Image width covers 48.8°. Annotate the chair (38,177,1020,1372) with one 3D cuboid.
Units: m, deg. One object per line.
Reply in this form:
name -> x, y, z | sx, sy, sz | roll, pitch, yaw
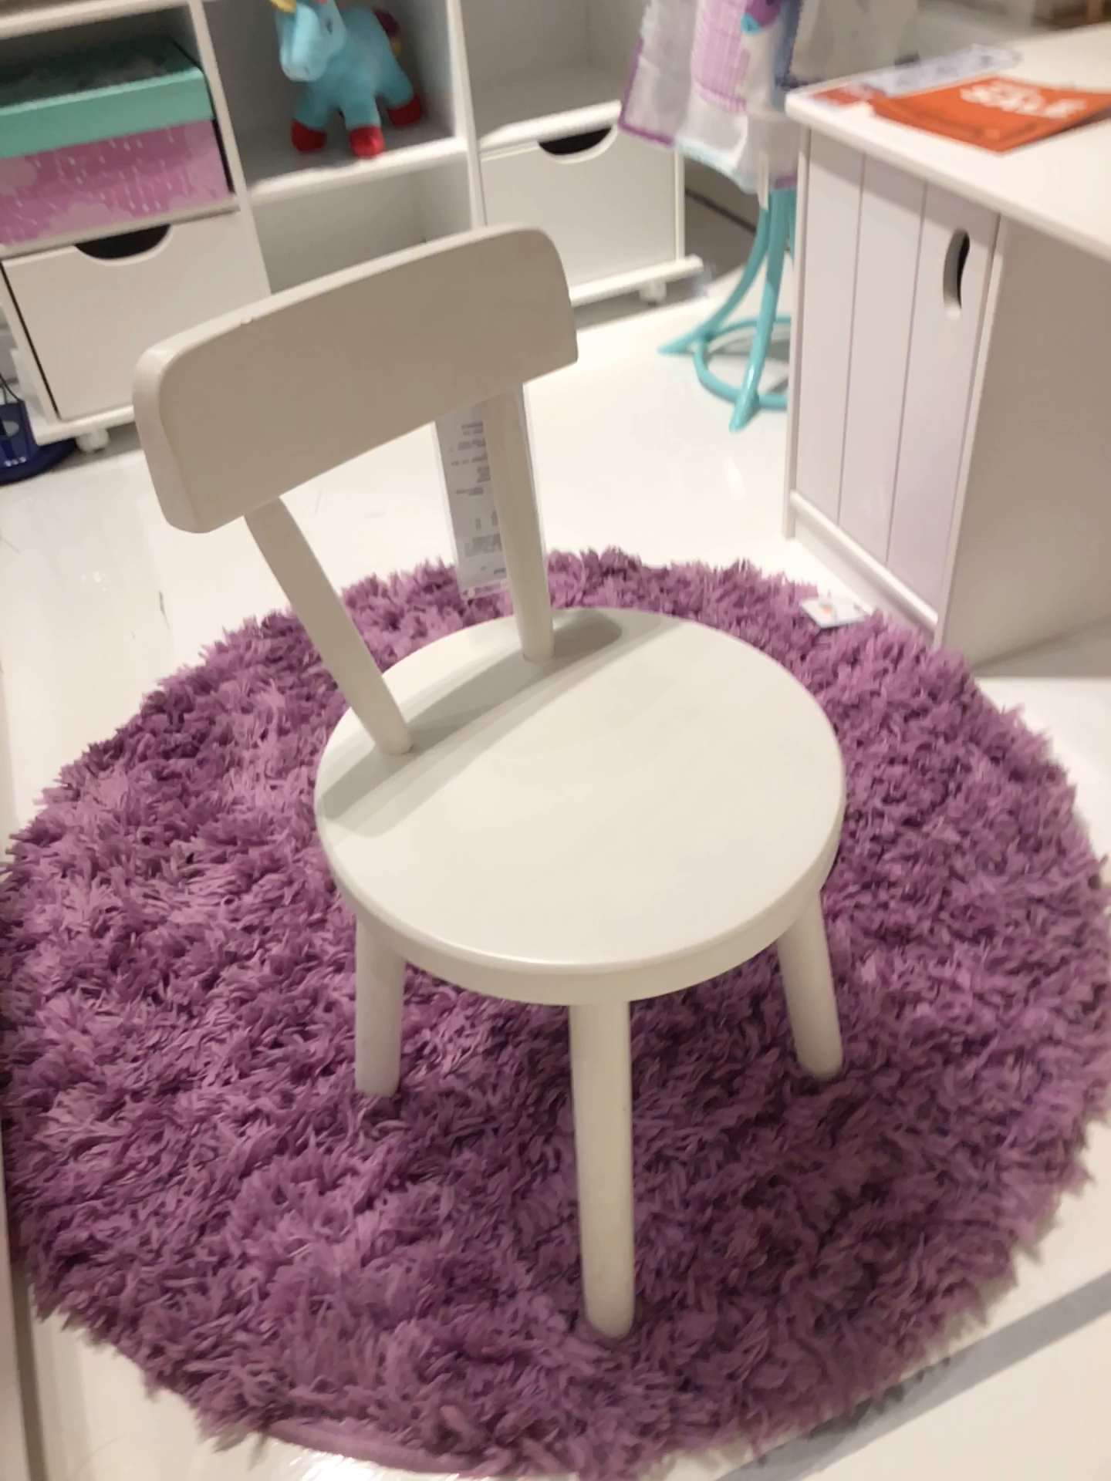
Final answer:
chair -> 0.010, 0.032, 0.743 | 0.311, 0.576, 0.321 | 30, 53, 34
